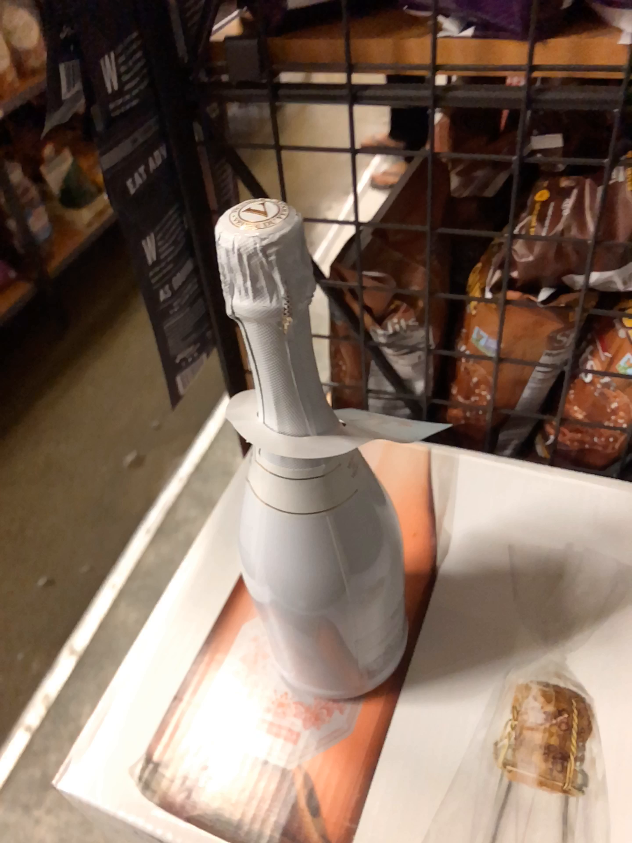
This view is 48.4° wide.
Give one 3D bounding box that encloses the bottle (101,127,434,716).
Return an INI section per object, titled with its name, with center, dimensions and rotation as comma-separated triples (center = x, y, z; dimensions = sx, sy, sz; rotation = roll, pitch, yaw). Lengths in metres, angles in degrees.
[bottle]
center = 0.000, 0.027, 0.353
dimensions = 0.094, 0.310, 0.086
rotation = -4, 43, 4
